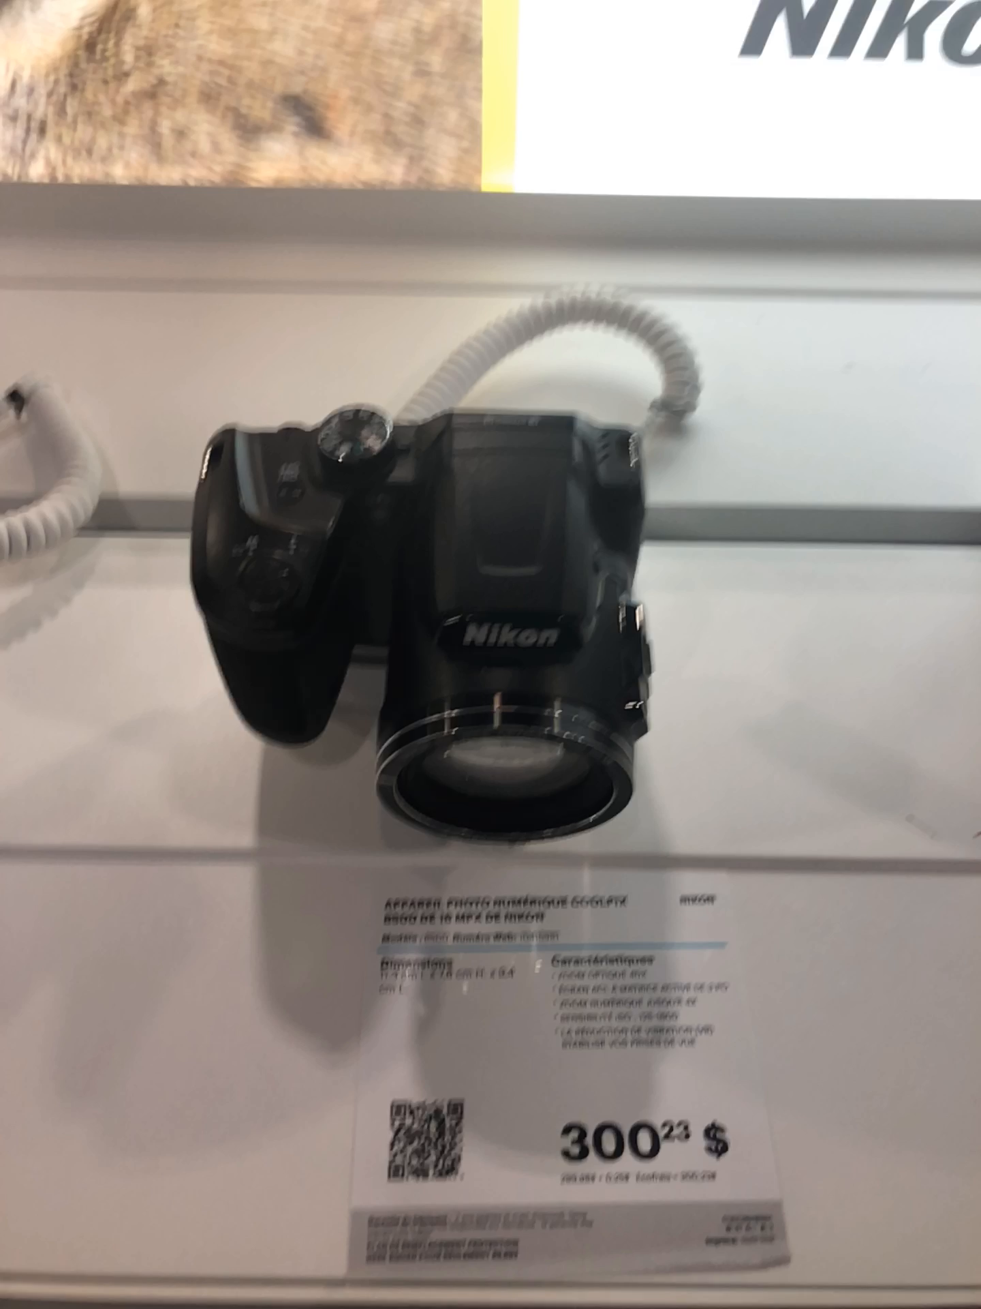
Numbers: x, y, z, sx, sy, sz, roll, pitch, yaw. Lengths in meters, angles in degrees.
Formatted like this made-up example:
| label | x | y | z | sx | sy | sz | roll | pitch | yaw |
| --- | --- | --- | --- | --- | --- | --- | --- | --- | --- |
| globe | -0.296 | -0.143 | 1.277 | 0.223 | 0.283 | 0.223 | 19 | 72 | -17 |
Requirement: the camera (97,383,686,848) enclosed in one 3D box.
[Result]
| label | x | y | z | sx | sy | sz | roll | pitch | yaw |
| --- | --- | --- | --- | --- | --- | --- | --- | --- | --- |
| camera | -0.019 | -0.009 | 0.259 | 0.111 | 0.069 | 0.085 | 0 | 51 | -1 |
